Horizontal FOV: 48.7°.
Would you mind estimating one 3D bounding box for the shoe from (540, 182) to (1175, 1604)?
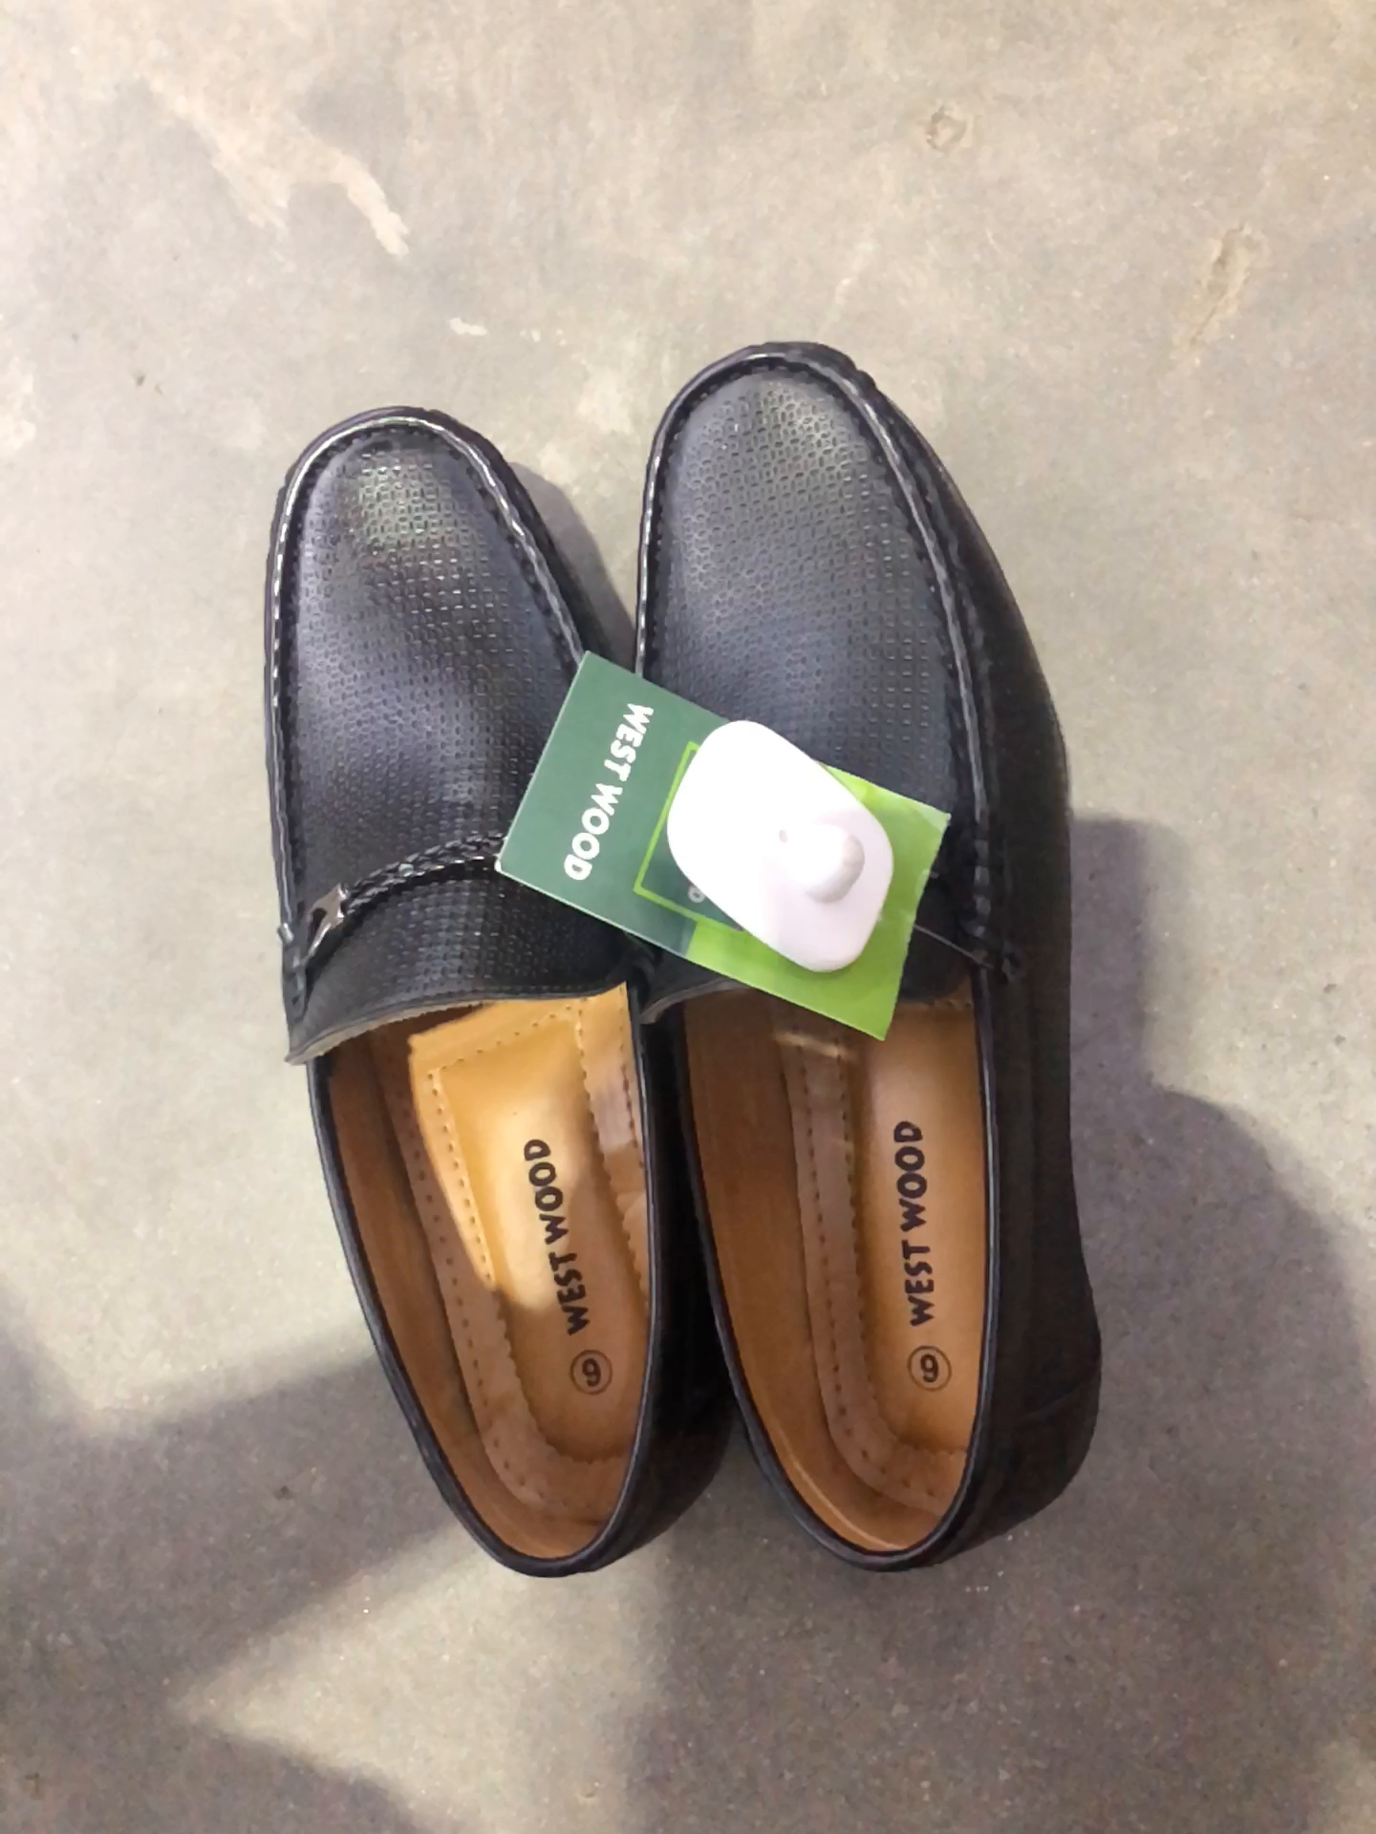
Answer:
[{"bbox_3d":[0.039,-0.003,0.343,0.090,0.070,0.280,-10,84,20],"label":"shoe"}]

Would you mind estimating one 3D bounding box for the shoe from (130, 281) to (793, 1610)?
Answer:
[{"bbox_3d":[-0.052,0.005,0.370,0.100,0.070,0.280,-11,84,8],"label":"shoe"}]
